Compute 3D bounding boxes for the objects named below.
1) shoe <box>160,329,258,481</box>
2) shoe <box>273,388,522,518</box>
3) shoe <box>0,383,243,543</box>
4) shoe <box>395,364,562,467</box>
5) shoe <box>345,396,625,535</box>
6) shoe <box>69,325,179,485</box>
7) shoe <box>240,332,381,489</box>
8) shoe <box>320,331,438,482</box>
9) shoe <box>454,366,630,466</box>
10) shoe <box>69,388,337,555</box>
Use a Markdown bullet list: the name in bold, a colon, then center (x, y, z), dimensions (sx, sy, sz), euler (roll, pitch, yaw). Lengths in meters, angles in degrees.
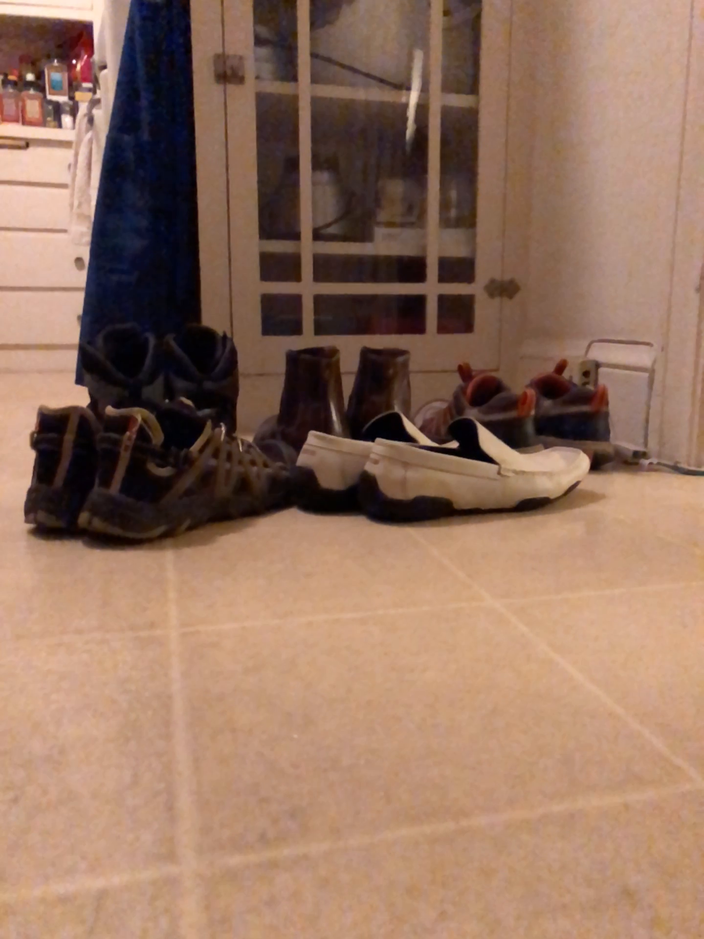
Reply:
- **shoe**: center (-0.223, -0.111, 1.159), dimensions (0.110, 0.193, 0.324), euler (-3, 11, -16)
- **shoe**: center (0.062, -0.031, 0.933), dimensions (0.304, 0.113, 0.110), euler (-8, 13, -39)
- **shoe**: center (-0.241, -0.022, 0.855), dimensions (0.110, 0.123, 0.294), euler (4, 11, 20)
- **shoe**: center (0.171, -0.090, 1.139), dimensions (0.110, 0.113, 0.314), euler (-3, 11, -17)
- **shoe**: center (0.151, -0.014, 0.859), dimensions (0.303, 0.113, 0.110), euler (-6, 12, -29)
- **shoe**: center (-0.334, -0.108, 1.105), dimensions (0.110, 0.193, 0.324), euler (-4, 11, -22)
- **shoe**: center (-0.073, -0.102, 1.131), dimensions (0.110, 0.193, 0.324), euler (-4, 11, -21)
- **shoe**: center (0.029, -0.109, 1.162), dimensions (0.110, 0.193, 0.324), euler (-1, 11, -10)
- **shoe**: center (0.274, -0.092, 1.177), dimensions (0.110, 0.113, 0.314), euler (-3, 11, -17)
- **shoe**: center (-0.142, -0.013, 0.828), dimensions (0.110, 0.123, 0.294), euler (7, 12, 31)
